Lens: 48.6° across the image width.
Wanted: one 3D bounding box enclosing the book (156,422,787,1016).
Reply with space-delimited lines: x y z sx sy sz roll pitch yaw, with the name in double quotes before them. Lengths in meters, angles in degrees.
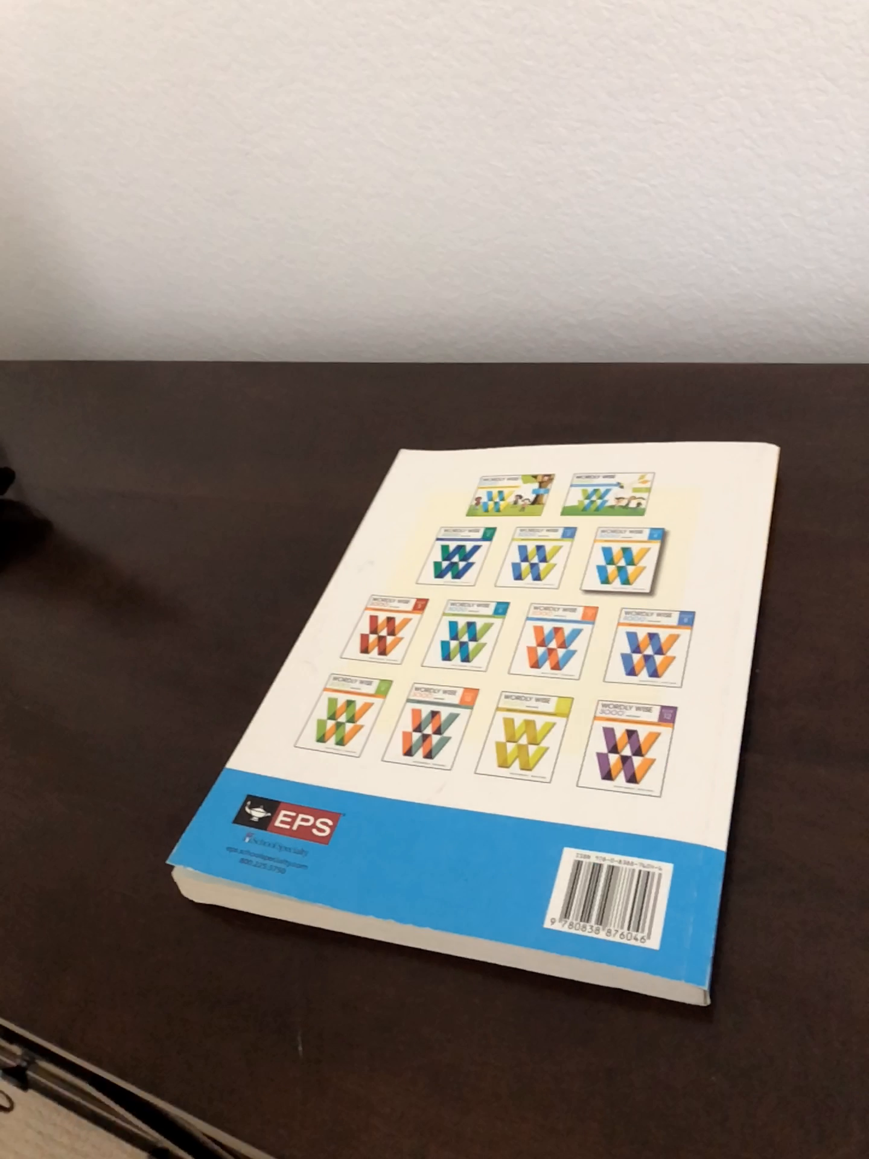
"book" 0.033 0.031 0.437 0.220 0.031 0.272 2 48 25
